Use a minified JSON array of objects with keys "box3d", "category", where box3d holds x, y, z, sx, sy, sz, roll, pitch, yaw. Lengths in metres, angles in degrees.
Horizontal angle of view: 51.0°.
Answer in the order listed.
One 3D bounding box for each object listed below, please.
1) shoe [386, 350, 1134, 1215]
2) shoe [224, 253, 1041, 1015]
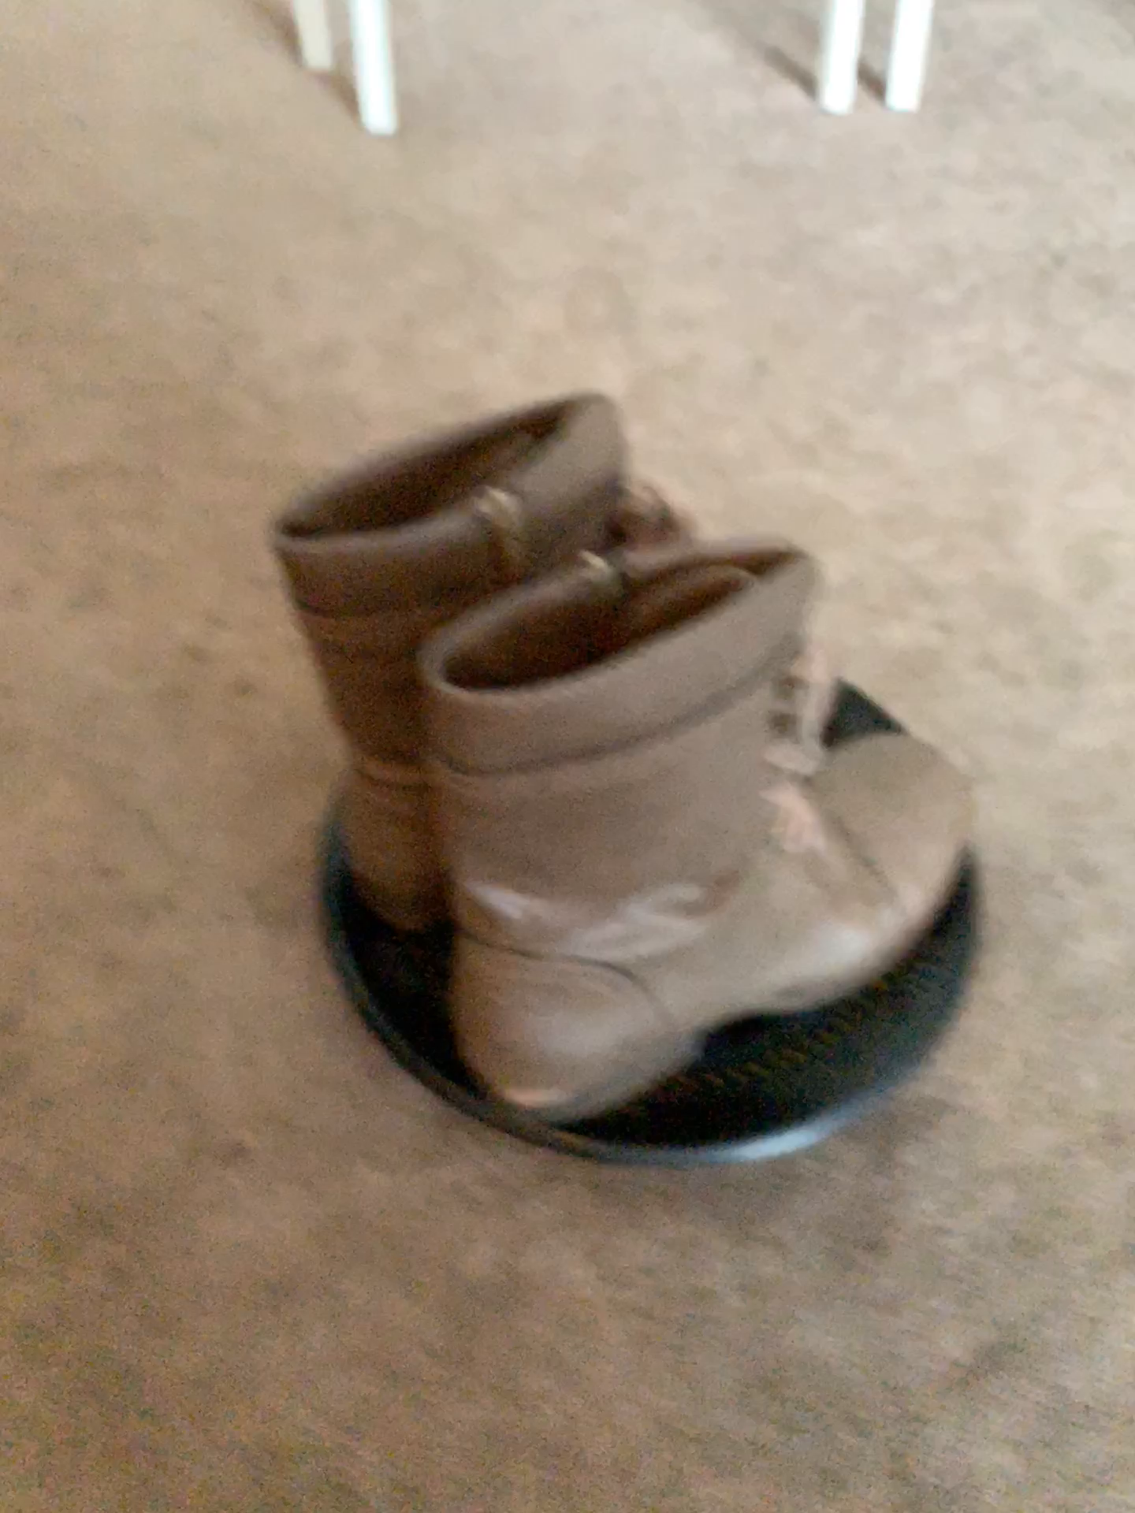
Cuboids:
[{"box3d":[0.090,0.007,0.423,0.271,0.198,0.101,-27,54,-22],"category":"shoe"},{"box3d":[0.029,-0.051,0.478,0.271,0.198,0.101,-27,54,-22],"category":"shoe"}]
